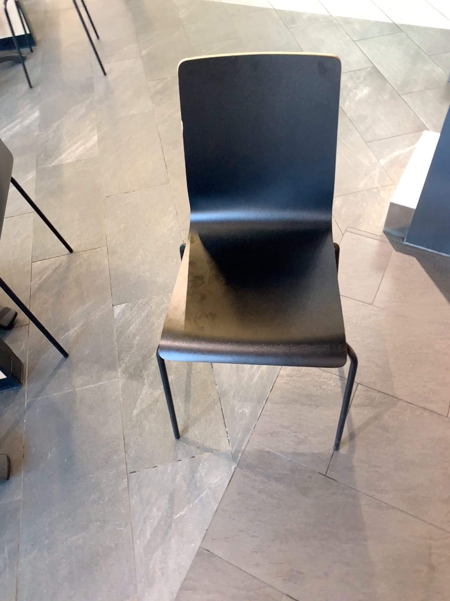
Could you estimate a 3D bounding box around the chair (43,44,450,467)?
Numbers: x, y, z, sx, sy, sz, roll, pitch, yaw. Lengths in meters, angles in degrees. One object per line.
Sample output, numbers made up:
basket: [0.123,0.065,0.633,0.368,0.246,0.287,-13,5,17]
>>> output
chair: [0.077,-0.029,1.065,0.520,0.837,0.522,3,54,8]
